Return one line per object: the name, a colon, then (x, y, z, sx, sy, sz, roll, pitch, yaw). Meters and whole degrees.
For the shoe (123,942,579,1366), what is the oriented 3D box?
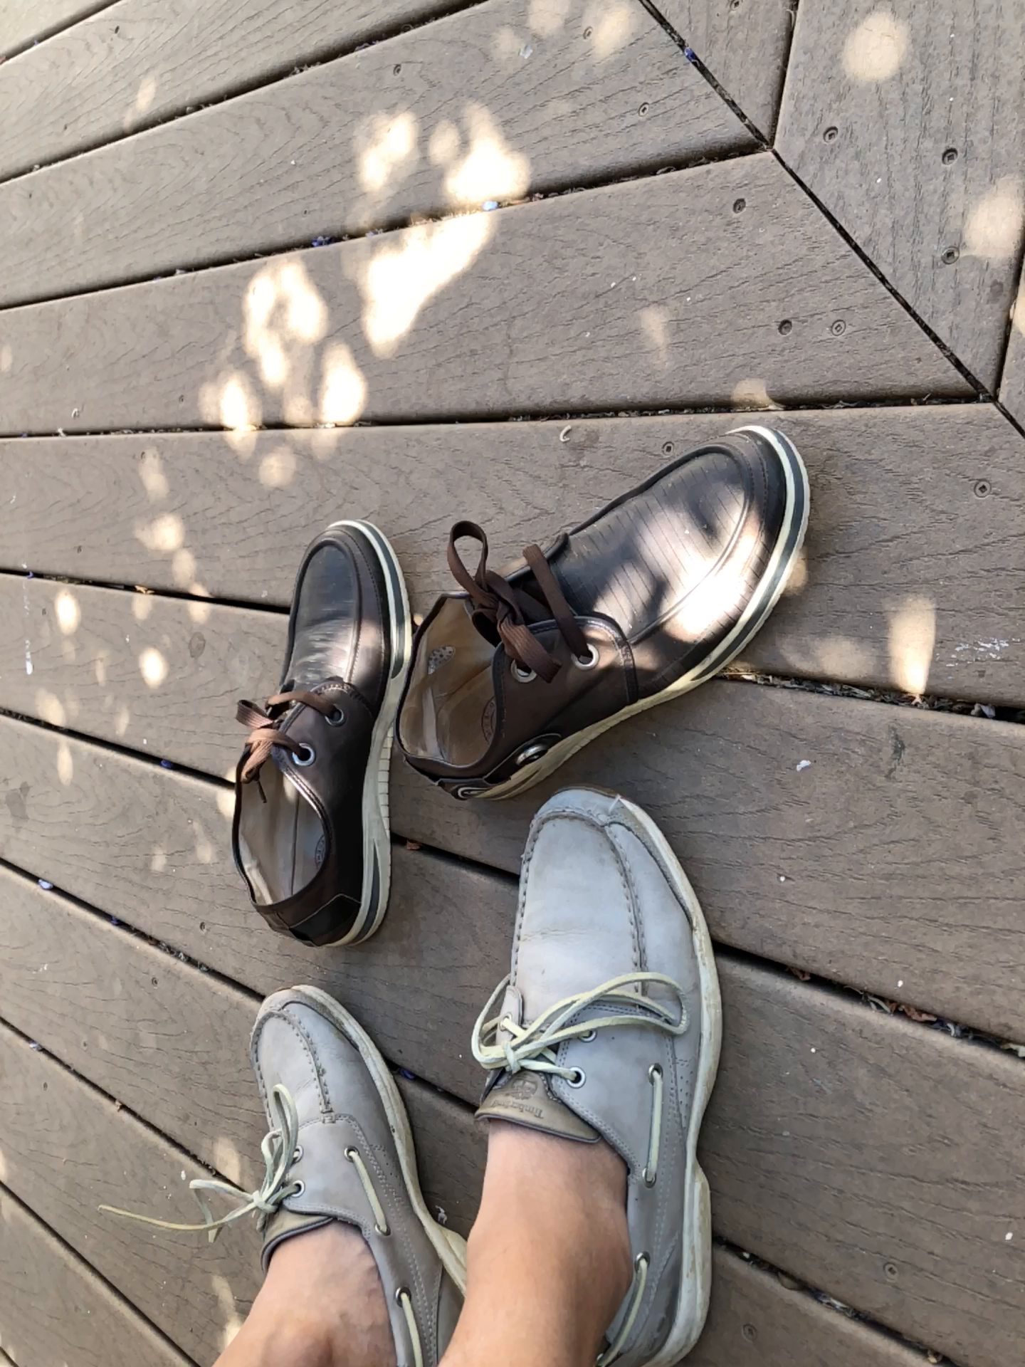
shoe: (-0.110, 0.316, 0.681, 0.110, 0.111, 0.304, -54, 55, 23)

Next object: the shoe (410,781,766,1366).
shoe: (0.035, 0.207, 0.565, 0.111, 0.111, 0.303, -12, 78, 40)

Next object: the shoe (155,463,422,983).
shoe: (-0.144, 0.026, 0.734, 0.111, 0.111, 0.303, -1, 84, 41)

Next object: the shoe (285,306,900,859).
shoe: (0.026, -0.031, 0.589, 0.304, 0.111, 0.110, -40, 61, 31)
